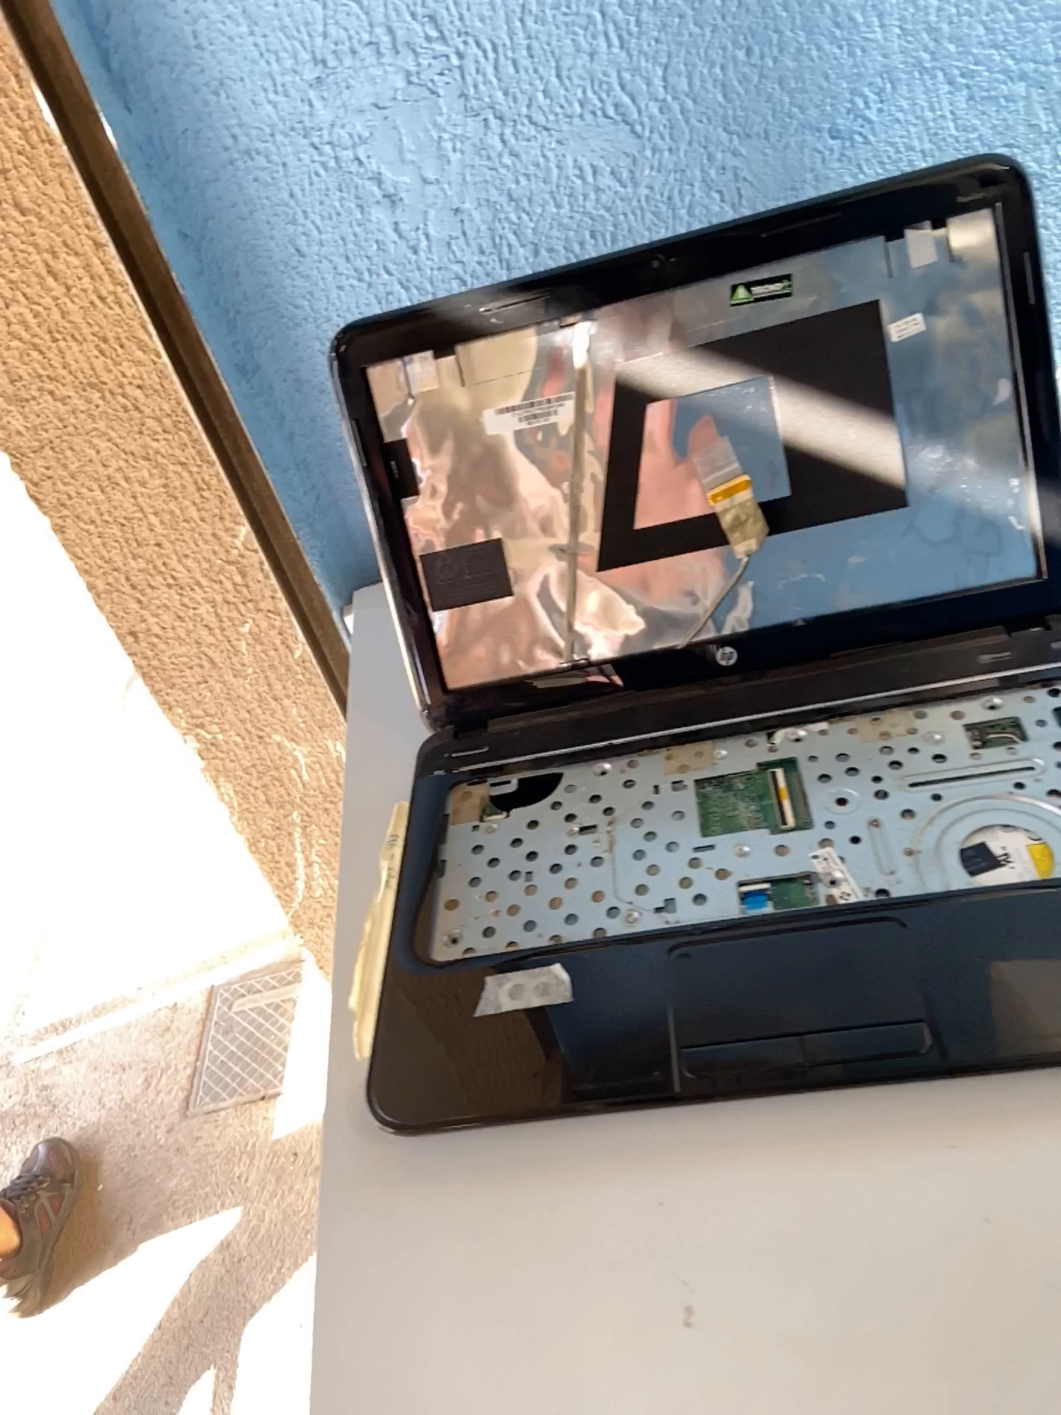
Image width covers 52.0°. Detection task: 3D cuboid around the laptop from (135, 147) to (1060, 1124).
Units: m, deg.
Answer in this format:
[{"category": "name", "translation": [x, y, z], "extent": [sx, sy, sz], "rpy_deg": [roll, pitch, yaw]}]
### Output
[{"category": "laptop", "translation": [0.078, -0.048, 0.456], "extent": [0.335, 0.186, 0.326], "rpy_deg": [-11, 38, 11]}]
